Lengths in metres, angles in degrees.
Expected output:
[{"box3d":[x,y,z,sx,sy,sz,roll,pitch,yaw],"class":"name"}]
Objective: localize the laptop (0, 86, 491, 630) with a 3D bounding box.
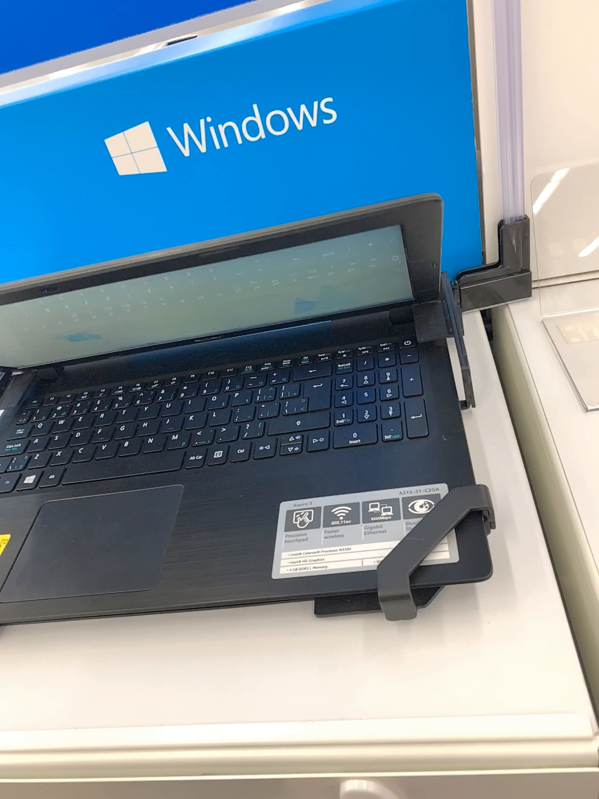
[{"box3d":[-0.091,-0.027,0.349,0.344,0.147,0.227,-8,40,11],"class":"laptop"}]
